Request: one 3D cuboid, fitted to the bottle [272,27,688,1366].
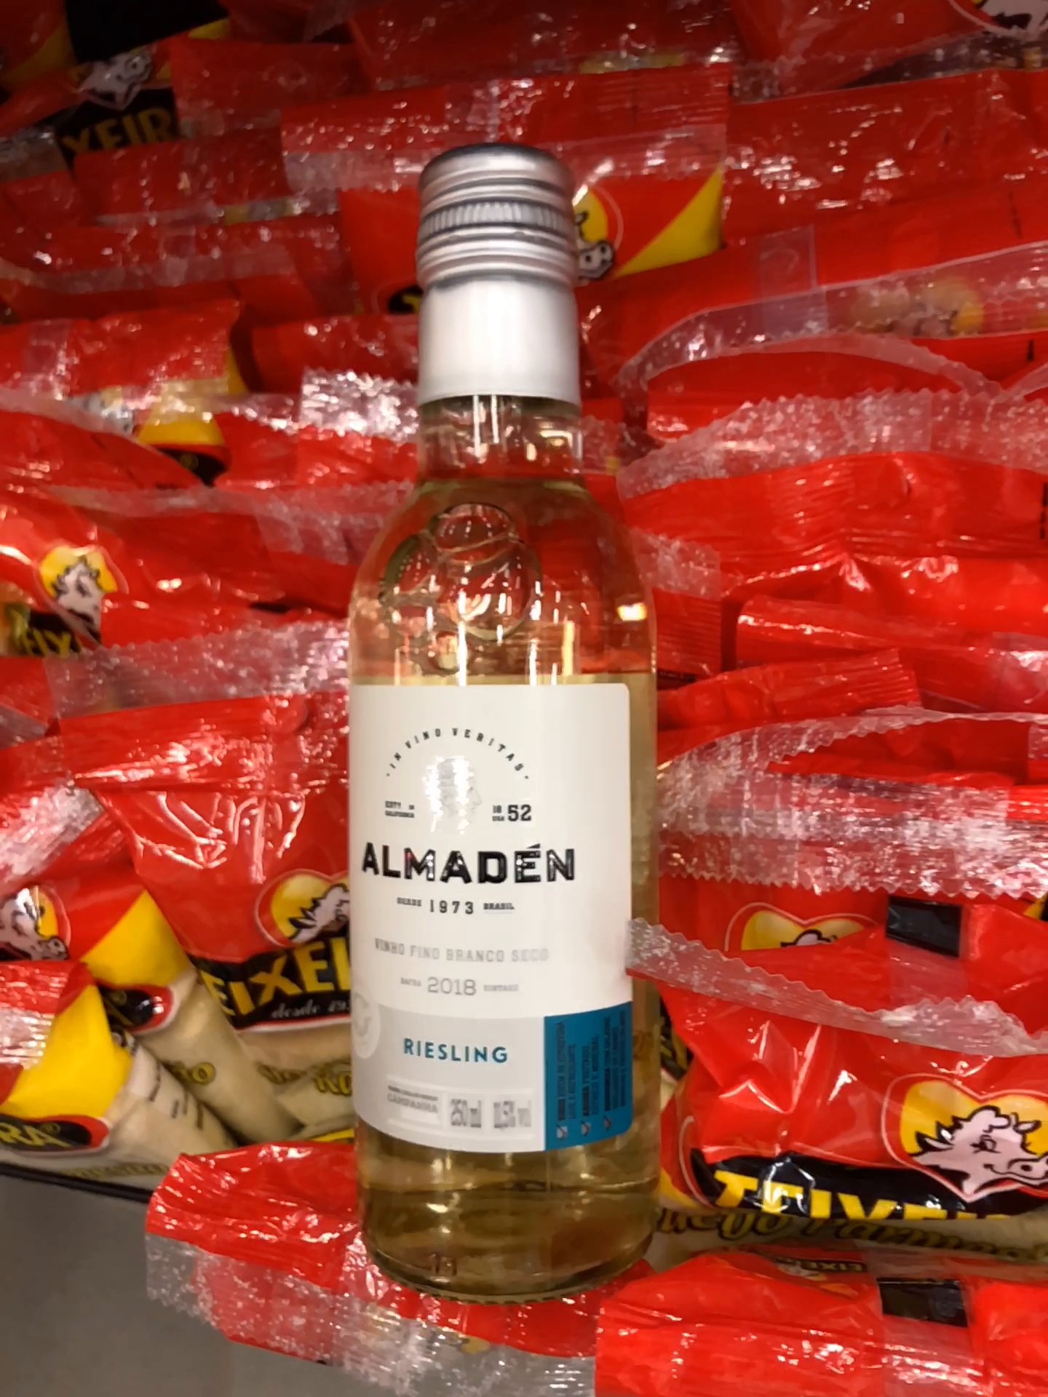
[{"bbox_3d":[-0.006,-0.002,0.213,0.060,0.040,0.210,1,88,19],"label":"bottle"}]
